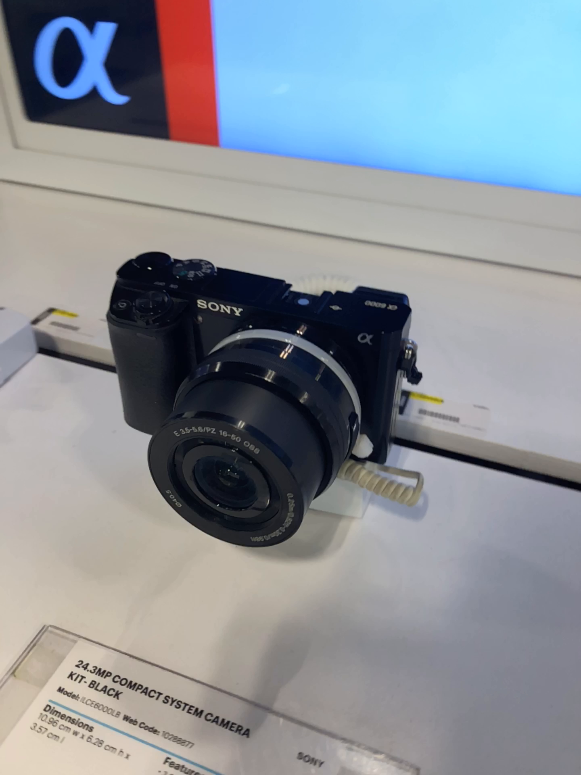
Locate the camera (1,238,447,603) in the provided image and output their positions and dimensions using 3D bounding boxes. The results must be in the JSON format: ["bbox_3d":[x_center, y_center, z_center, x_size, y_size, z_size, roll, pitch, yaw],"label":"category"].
[{"bbox_3d":[-0.017,0.003,0.253,0.130,0.070,0.101,12,38,16],"label":"camera"}]
